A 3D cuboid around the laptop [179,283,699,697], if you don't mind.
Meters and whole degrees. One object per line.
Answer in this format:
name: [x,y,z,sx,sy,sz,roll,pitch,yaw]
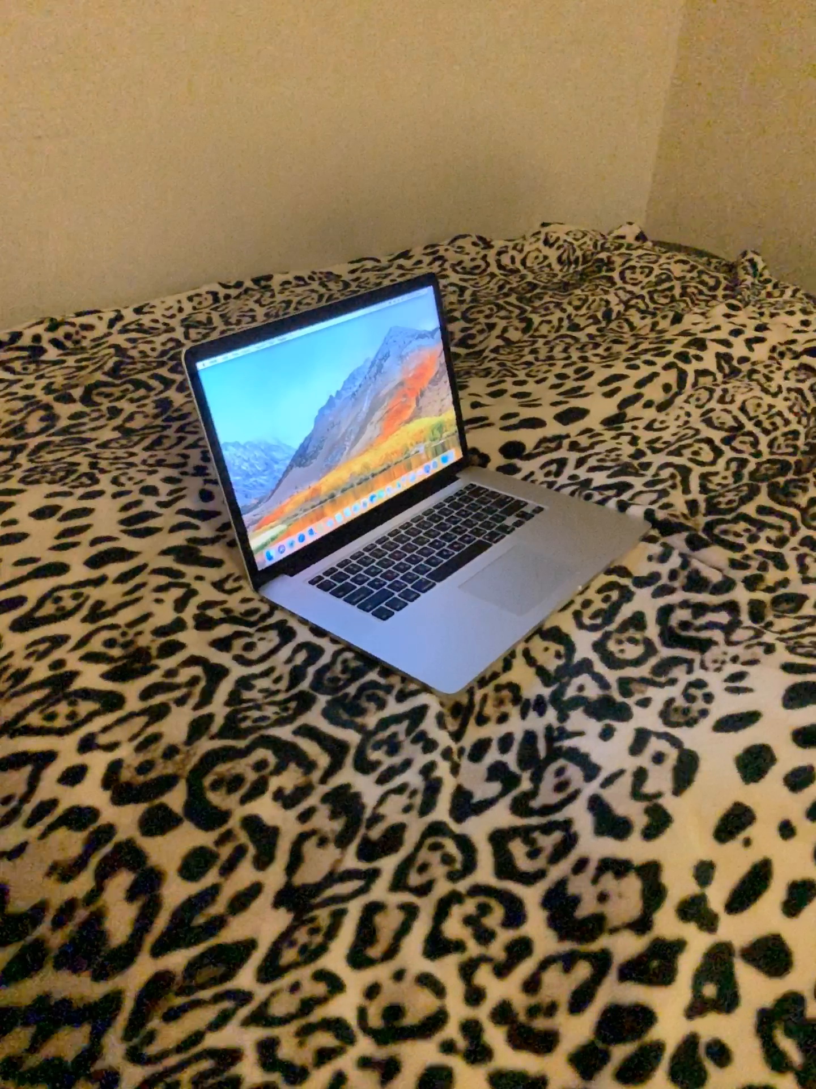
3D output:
laptop: [0.033,-0.085,0.797,0.300,0.222,0.350,24,40,34]
